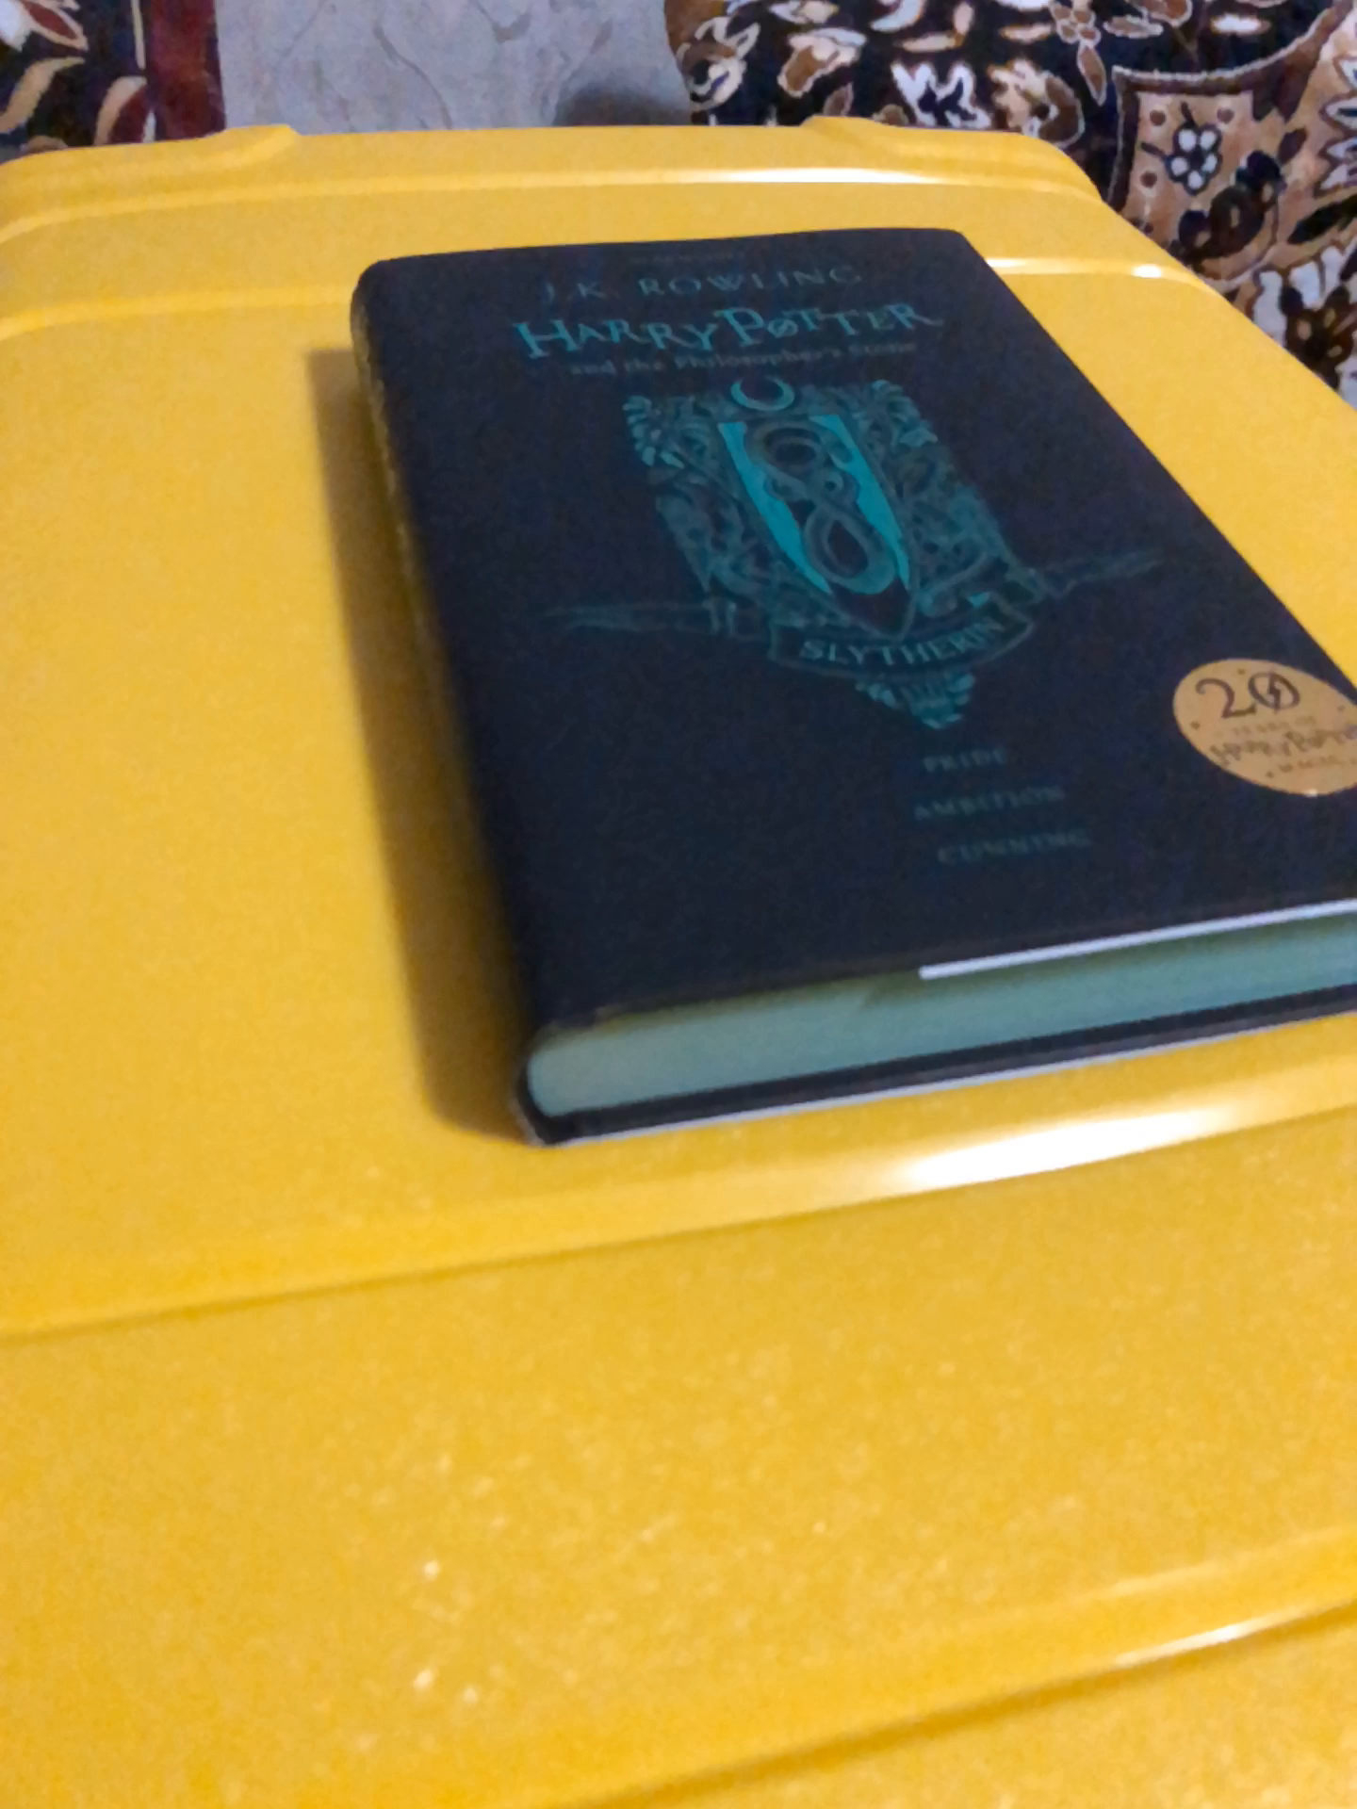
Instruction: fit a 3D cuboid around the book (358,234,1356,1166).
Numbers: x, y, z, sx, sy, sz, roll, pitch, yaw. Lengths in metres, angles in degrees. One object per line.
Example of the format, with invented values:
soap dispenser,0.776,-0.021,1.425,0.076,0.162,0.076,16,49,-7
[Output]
book,0.024,-0.059,0.262,0.137,0.030,0.205,-8,47,-12
